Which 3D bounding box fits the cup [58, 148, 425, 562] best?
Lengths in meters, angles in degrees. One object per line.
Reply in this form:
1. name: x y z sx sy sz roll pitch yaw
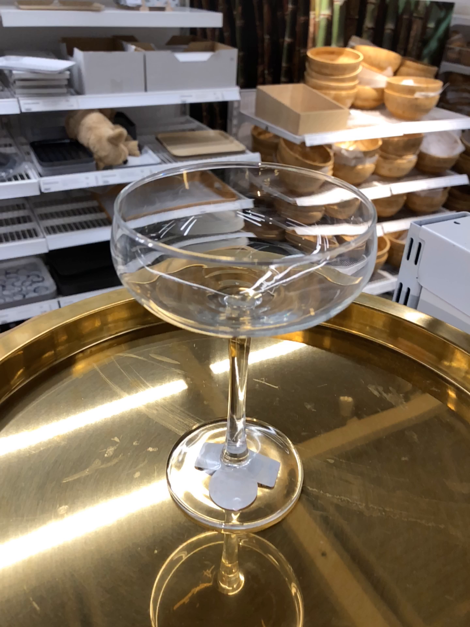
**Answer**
1. cup: 0.004 0.013 0.239 0.110 0.139 0.110 2 32 -1
